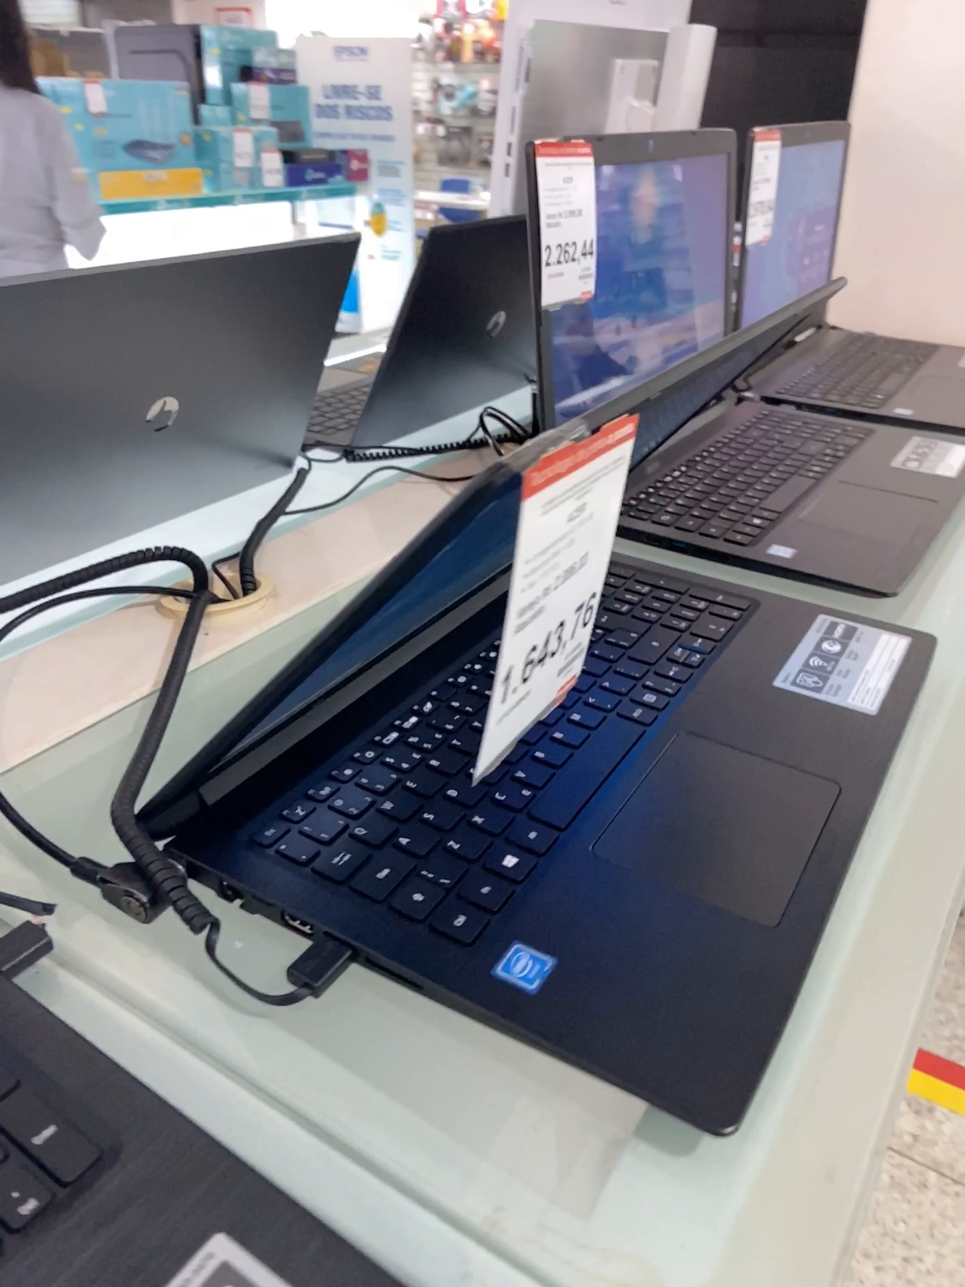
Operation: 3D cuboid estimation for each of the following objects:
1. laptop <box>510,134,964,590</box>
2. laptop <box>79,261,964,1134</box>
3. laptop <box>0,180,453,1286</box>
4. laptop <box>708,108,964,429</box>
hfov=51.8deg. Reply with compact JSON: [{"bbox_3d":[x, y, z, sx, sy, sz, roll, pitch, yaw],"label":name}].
[{"bbox_3d":[0.256,-0.256,0.791,0.284,0.247,0.401,18,32,27],"label":"laptop"},{"bbox_3d":[0.071,-0.043,0.451,0.238,0.185,0.381,17,32,27],"label":"laptop"},{"bbox_3d":[-0.254,0.090,0.123,0.326,0.231,0.402,20,33,29],"label":"laptop"},{"bbox_3d":[0.449,-0.431,1.081,0.283,0.241,0.324,21,36,32],"label":"laptop"}]
